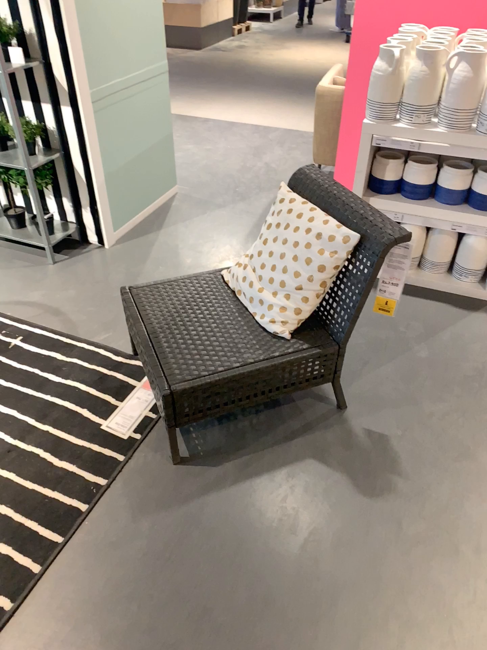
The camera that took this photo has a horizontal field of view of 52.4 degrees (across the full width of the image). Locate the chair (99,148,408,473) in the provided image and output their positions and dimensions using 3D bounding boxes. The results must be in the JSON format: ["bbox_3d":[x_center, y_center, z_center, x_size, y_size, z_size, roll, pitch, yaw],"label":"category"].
[{"bbox_3d":[-0.016,-0.097,1.827,0.780,0.797,0.703,-13,40,-17],"label":"chair"}]
